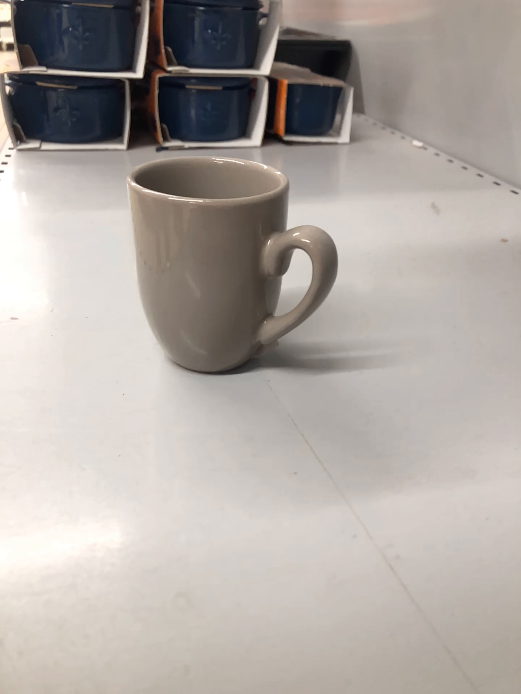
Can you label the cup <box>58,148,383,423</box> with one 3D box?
[{"bbox_3d":[-0.014,-0.030,0.215,0.091,0.062,0.065,20,36,27],"label":"cup"}]
